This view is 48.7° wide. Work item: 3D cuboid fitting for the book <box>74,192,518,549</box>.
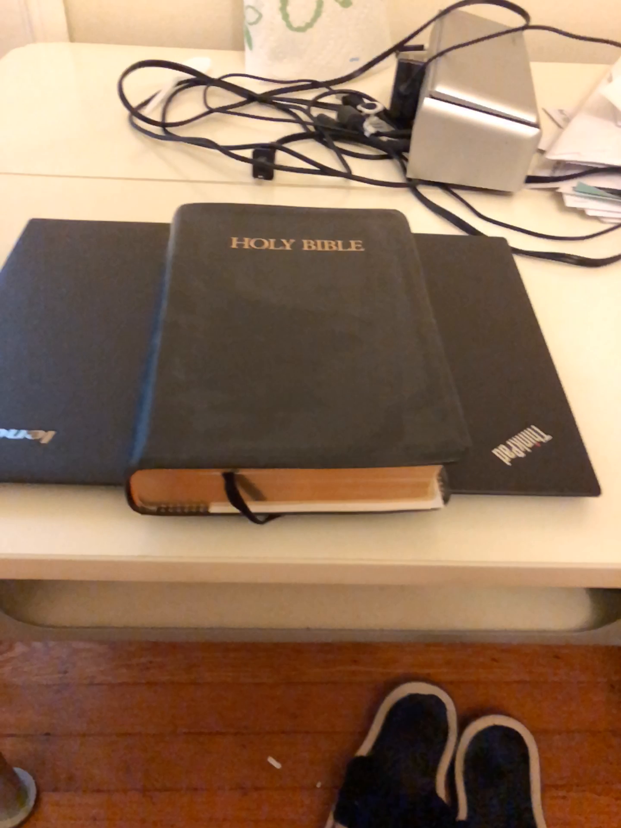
[{"bbox_3d":[-0.009,-0.042,0.363,0.170,0.040,0.241,0,44,-3],"label":"book"}]
